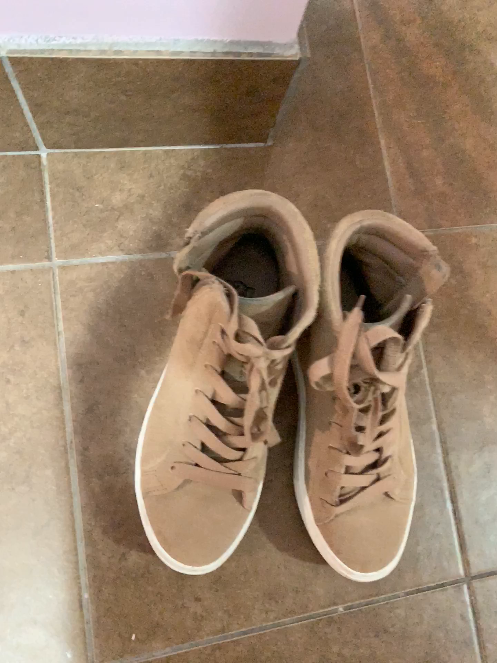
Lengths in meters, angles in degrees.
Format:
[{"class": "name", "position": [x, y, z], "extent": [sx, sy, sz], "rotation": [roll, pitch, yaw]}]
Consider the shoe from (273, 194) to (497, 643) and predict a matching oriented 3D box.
[{"class": "shoe", "position": [0.090, 0.054, 0.378], "extent": [0.113, 0.120, 0.270], "rotation": [0, 81, -10]}]

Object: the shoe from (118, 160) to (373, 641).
[{"class": "shoe", "position": [-0.004, 0.041, 0.344], "extent": [0.105, 0.117, 0.254], "rotation": [11, 79, -8]}]
